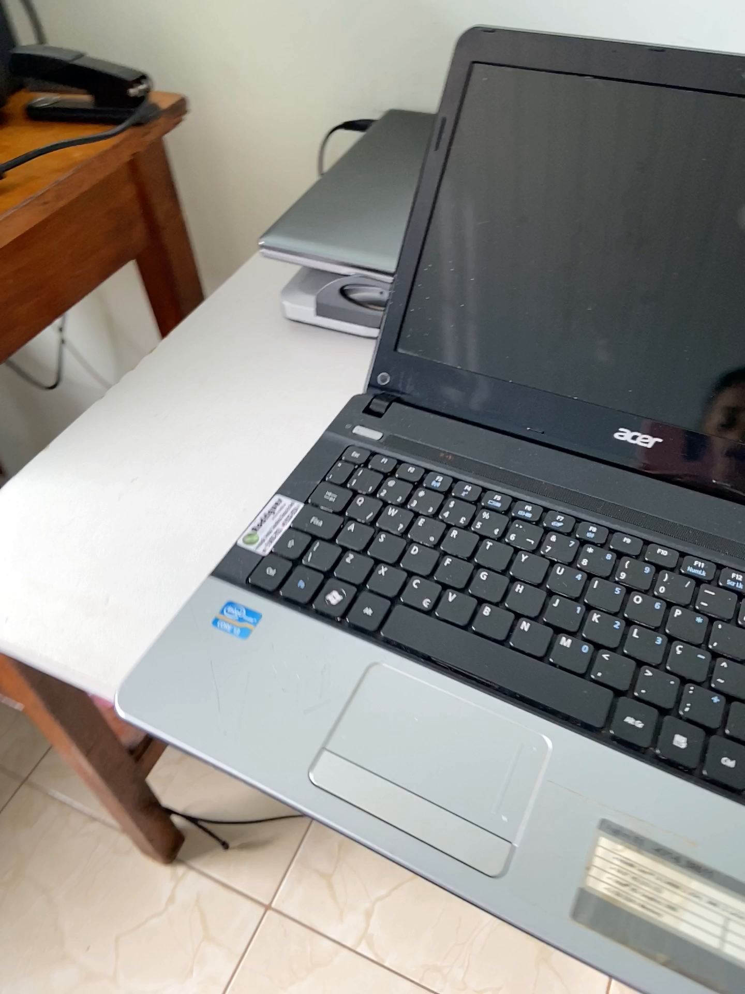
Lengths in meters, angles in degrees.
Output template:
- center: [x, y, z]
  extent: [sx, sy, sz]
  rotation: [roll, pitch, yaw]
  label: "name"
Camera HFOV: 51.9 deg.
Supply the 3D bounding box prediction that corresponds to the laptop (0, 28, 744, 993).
- center: [0.112, -0.045, 0.350]
  extent: [0.332, 0.163, 0.397]
  rotation: [19, 51, 20]
  label: "laptop"
